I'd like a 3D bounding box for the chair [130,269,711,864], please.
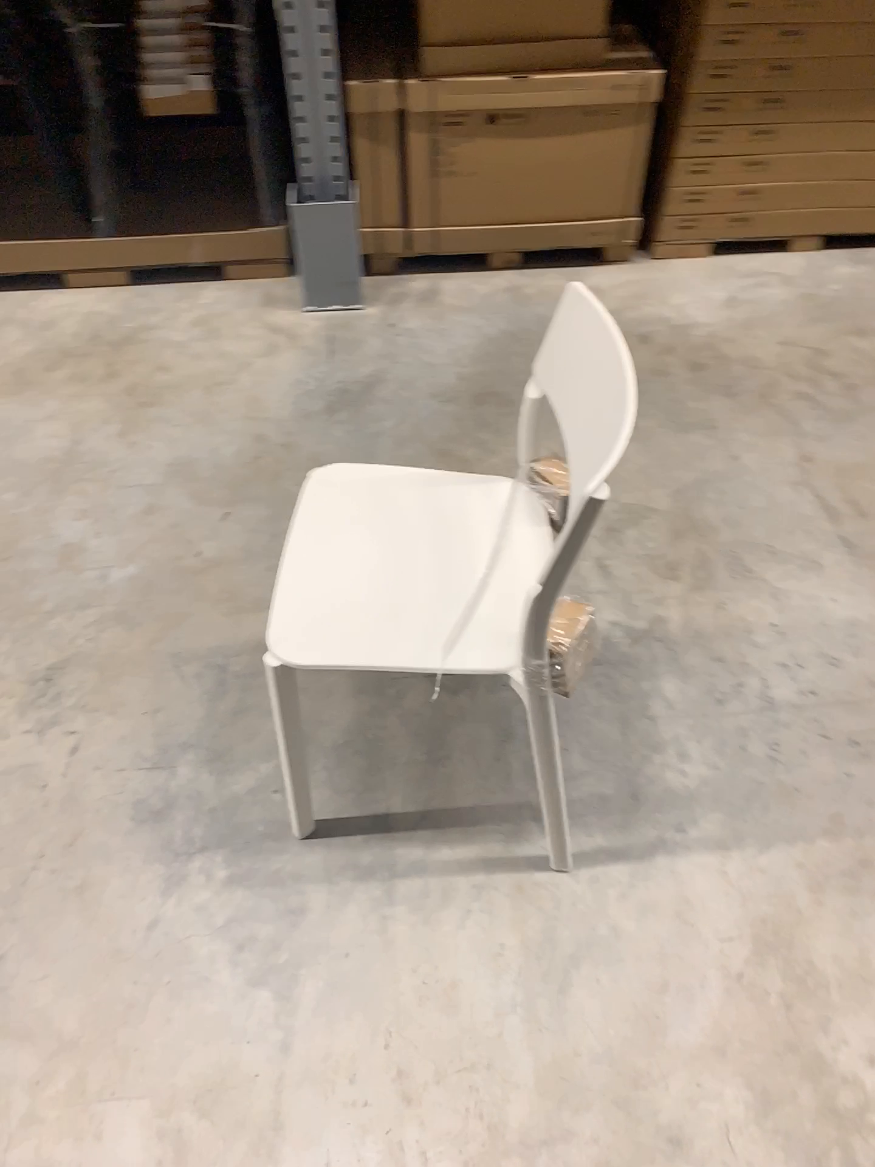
[{"bbox_3d":[-0.006,-0.009,1.213,0.530,0.618,0.522,1,47,2],"label":"chair"}]
